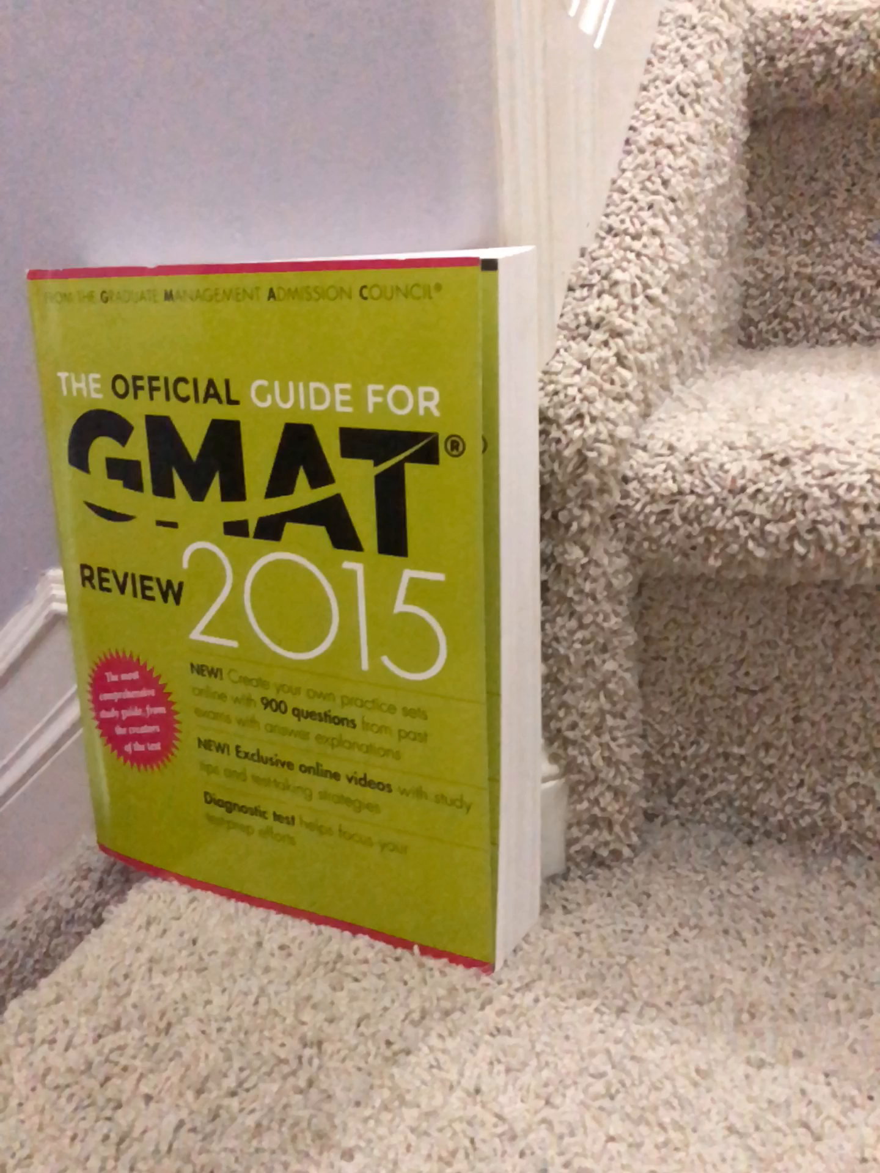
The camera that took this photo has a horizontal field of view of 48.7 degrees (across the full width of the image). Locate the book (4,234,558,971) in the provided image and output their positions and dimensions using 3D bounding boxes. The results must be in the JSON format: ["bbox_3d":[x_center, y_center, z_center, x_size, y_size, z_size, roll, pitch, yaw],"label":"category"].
[{"bbox_3d":[-0.068,0.003,0.419,0.236,0.277,0.040,6,17,26],"label":"book"}]
